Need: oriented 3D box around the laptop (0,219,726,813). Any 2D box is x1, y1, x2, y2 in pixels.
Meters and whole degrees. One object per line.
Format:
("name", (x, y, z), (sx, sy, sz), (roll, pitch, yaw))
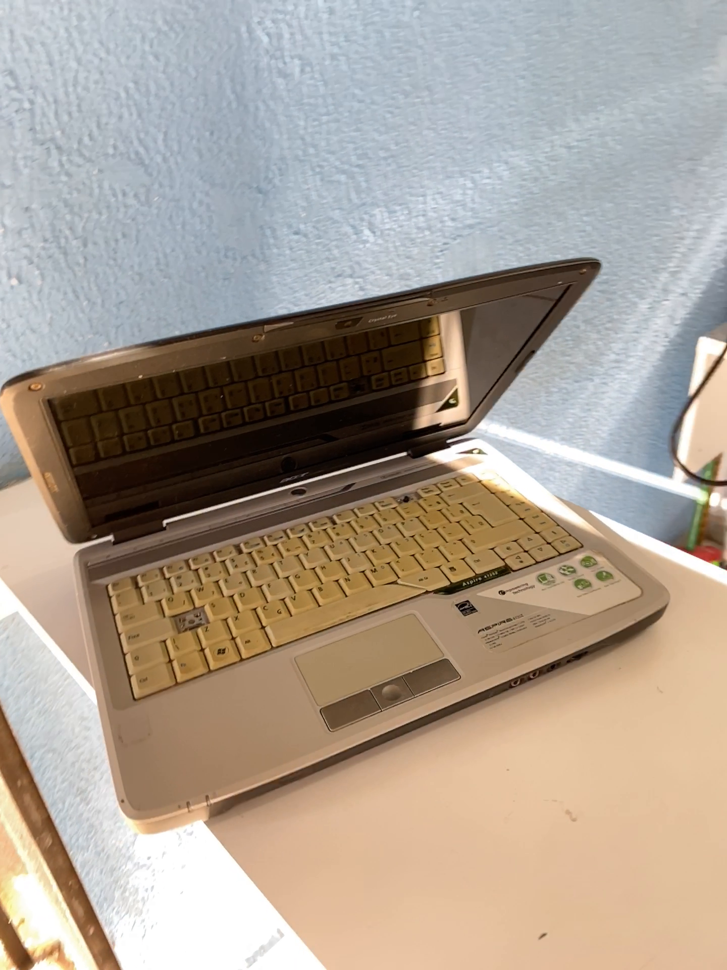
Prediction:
("laptop", (-0.011, -0.018, 0.449), (0.328, 0.179, 0.226), (-16, 35, -19))
